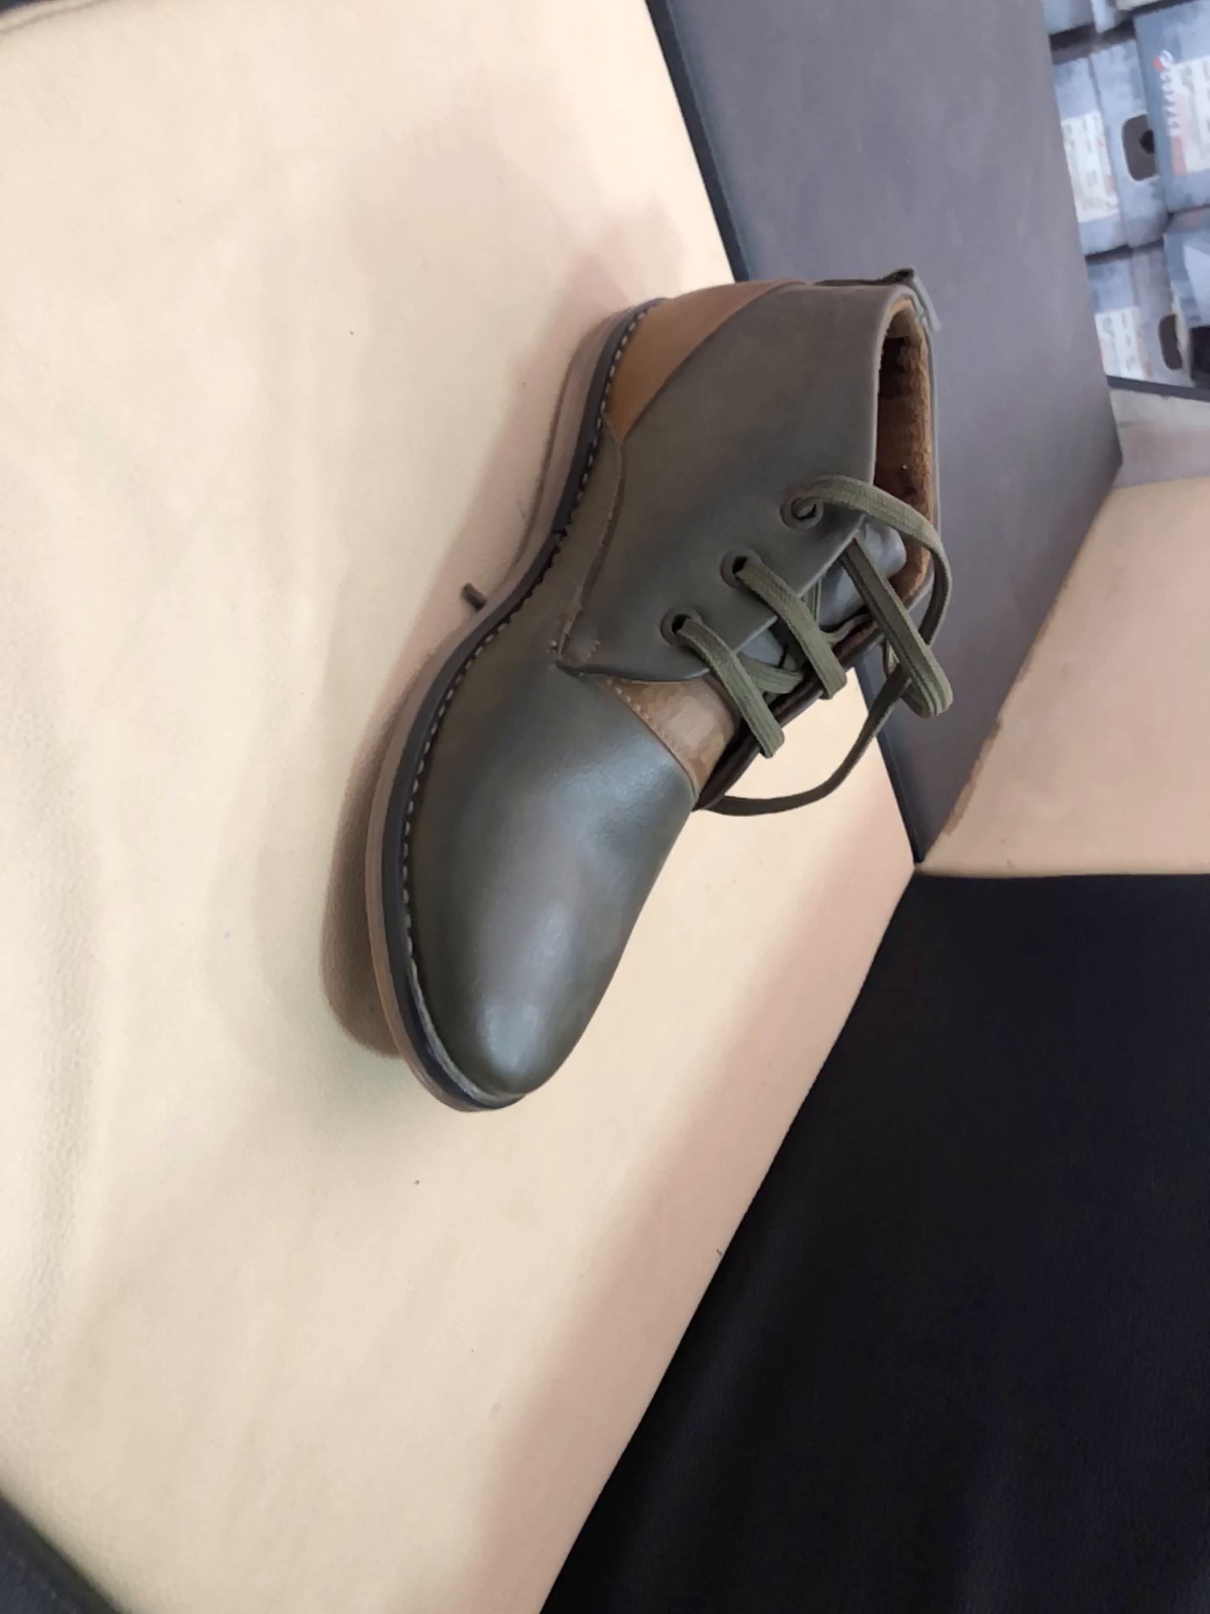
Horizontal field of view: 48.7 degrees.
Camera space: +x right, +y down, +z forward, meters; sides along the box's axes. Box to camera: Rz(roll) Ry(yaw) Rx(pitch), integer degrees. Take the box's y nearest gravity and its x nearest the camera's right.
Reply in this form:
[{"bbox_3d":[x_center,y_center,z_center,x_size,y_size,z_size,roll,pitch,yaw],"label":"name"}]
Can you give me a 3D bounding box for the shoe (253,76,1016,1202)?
[{"bbox_3d":[0.024,-0.053,0.356,0.081,0.099,0.280,45,55,-45],"label":"shoe"}]
